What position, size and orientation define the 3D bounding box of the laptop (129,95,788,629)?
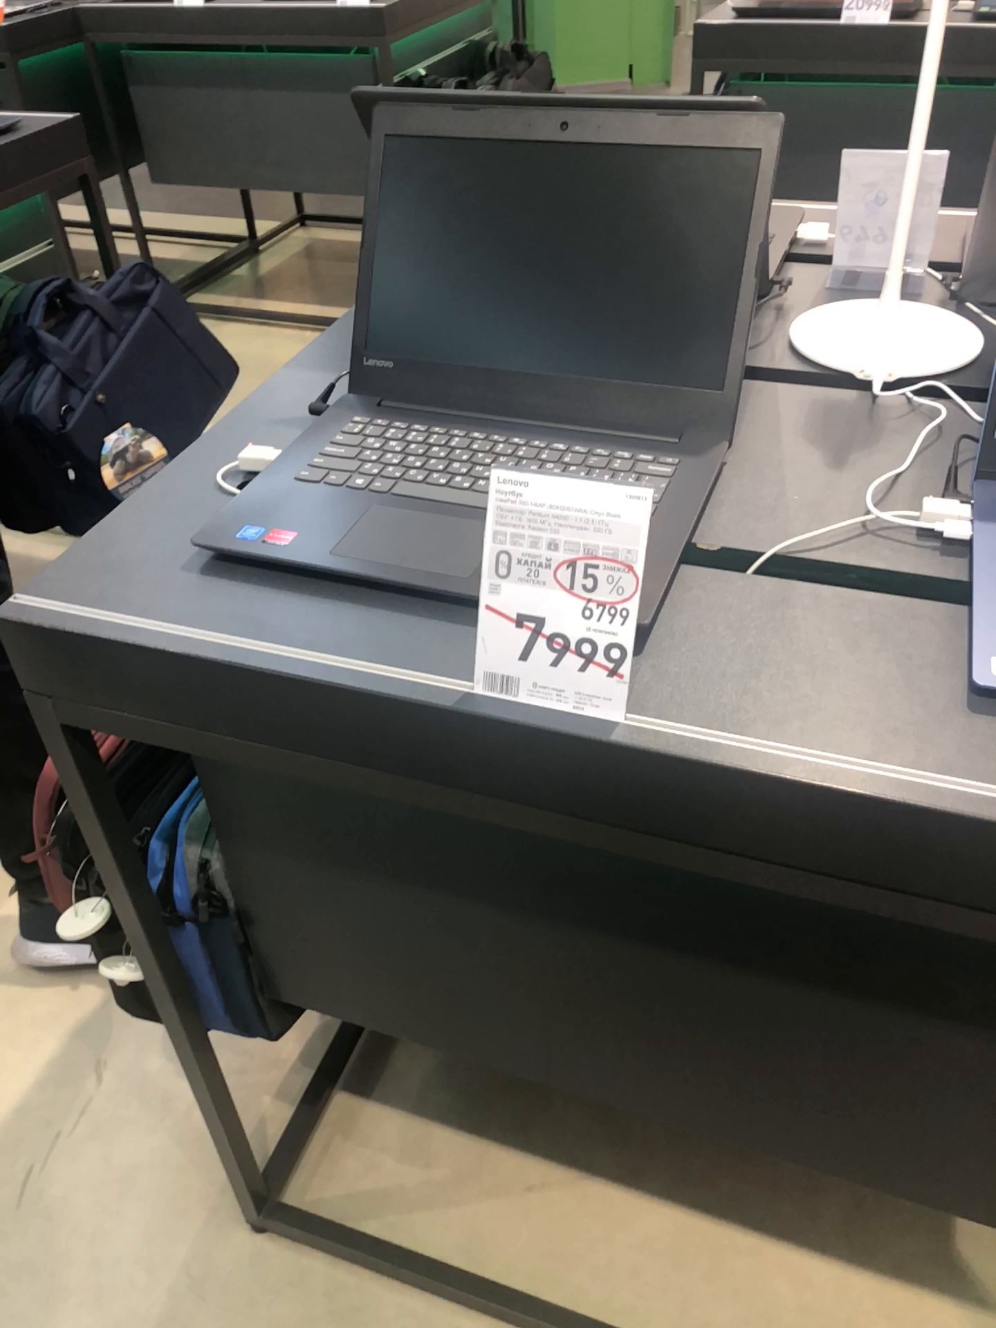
[{"bbox_3d":[0.001,-0.248,0.799,0.330,0.205,0.362,11,43,18],"label":"laptop"}]
